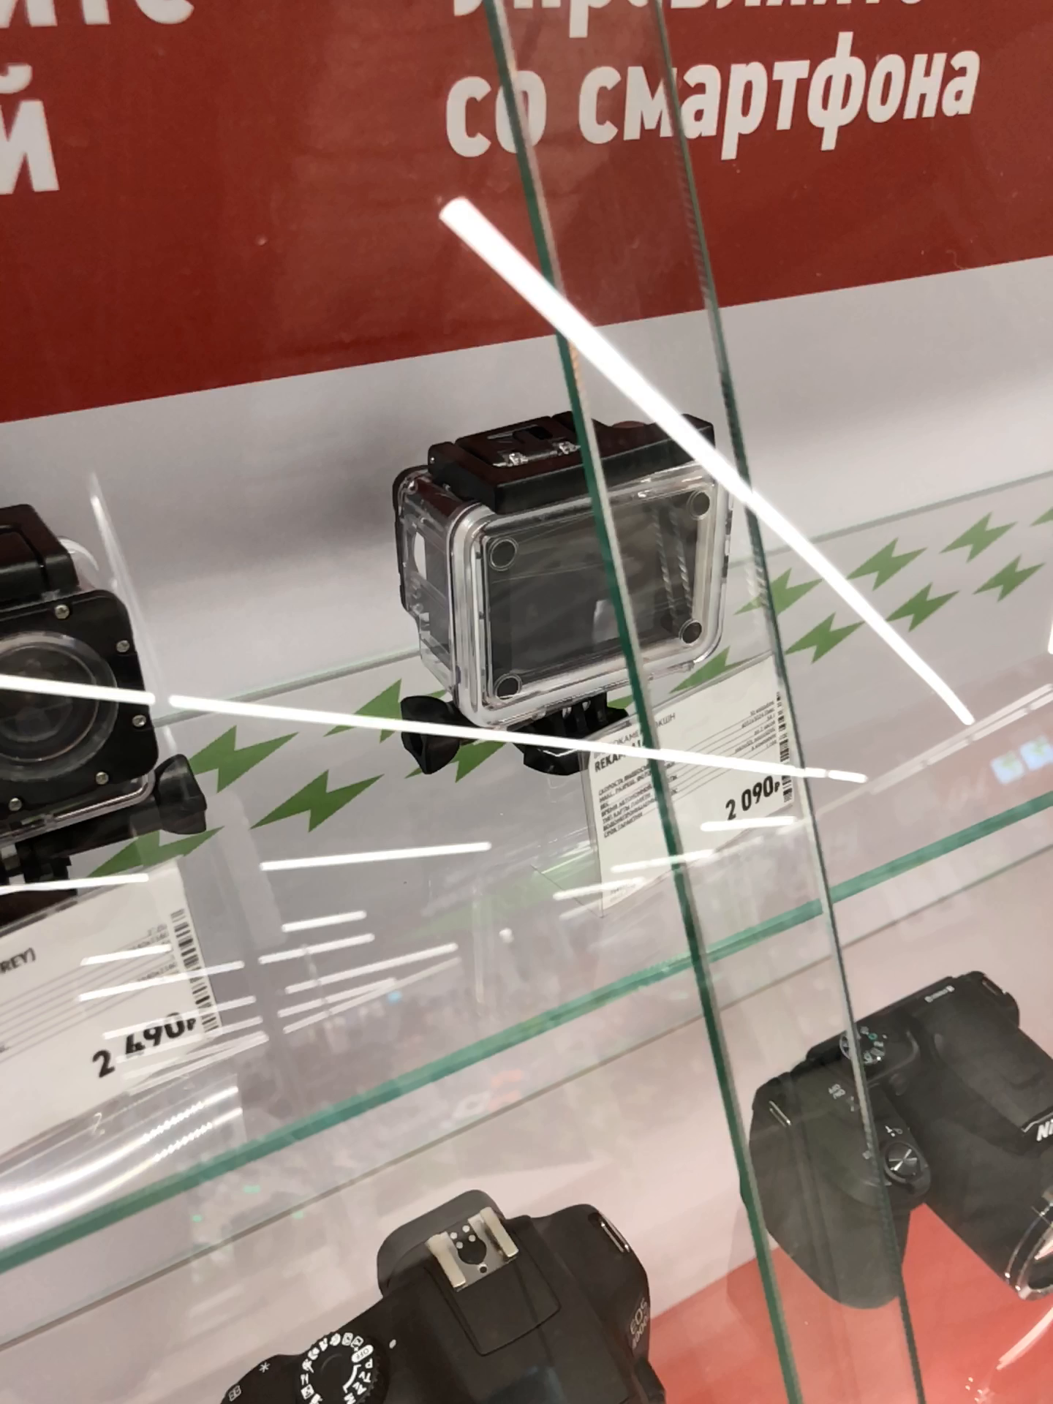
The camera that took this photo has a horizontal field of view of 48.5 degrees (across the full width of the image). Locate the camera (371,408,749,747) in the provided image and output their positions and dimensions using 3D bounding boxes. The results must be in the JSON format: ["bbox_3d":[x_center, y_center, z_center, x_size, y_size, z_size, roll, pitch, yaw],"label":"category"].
[{"bbox_3d":[0.008,-0.032,0.276,0.075,0.053,0.040,-18,35,-26],"label":"camera"}]
